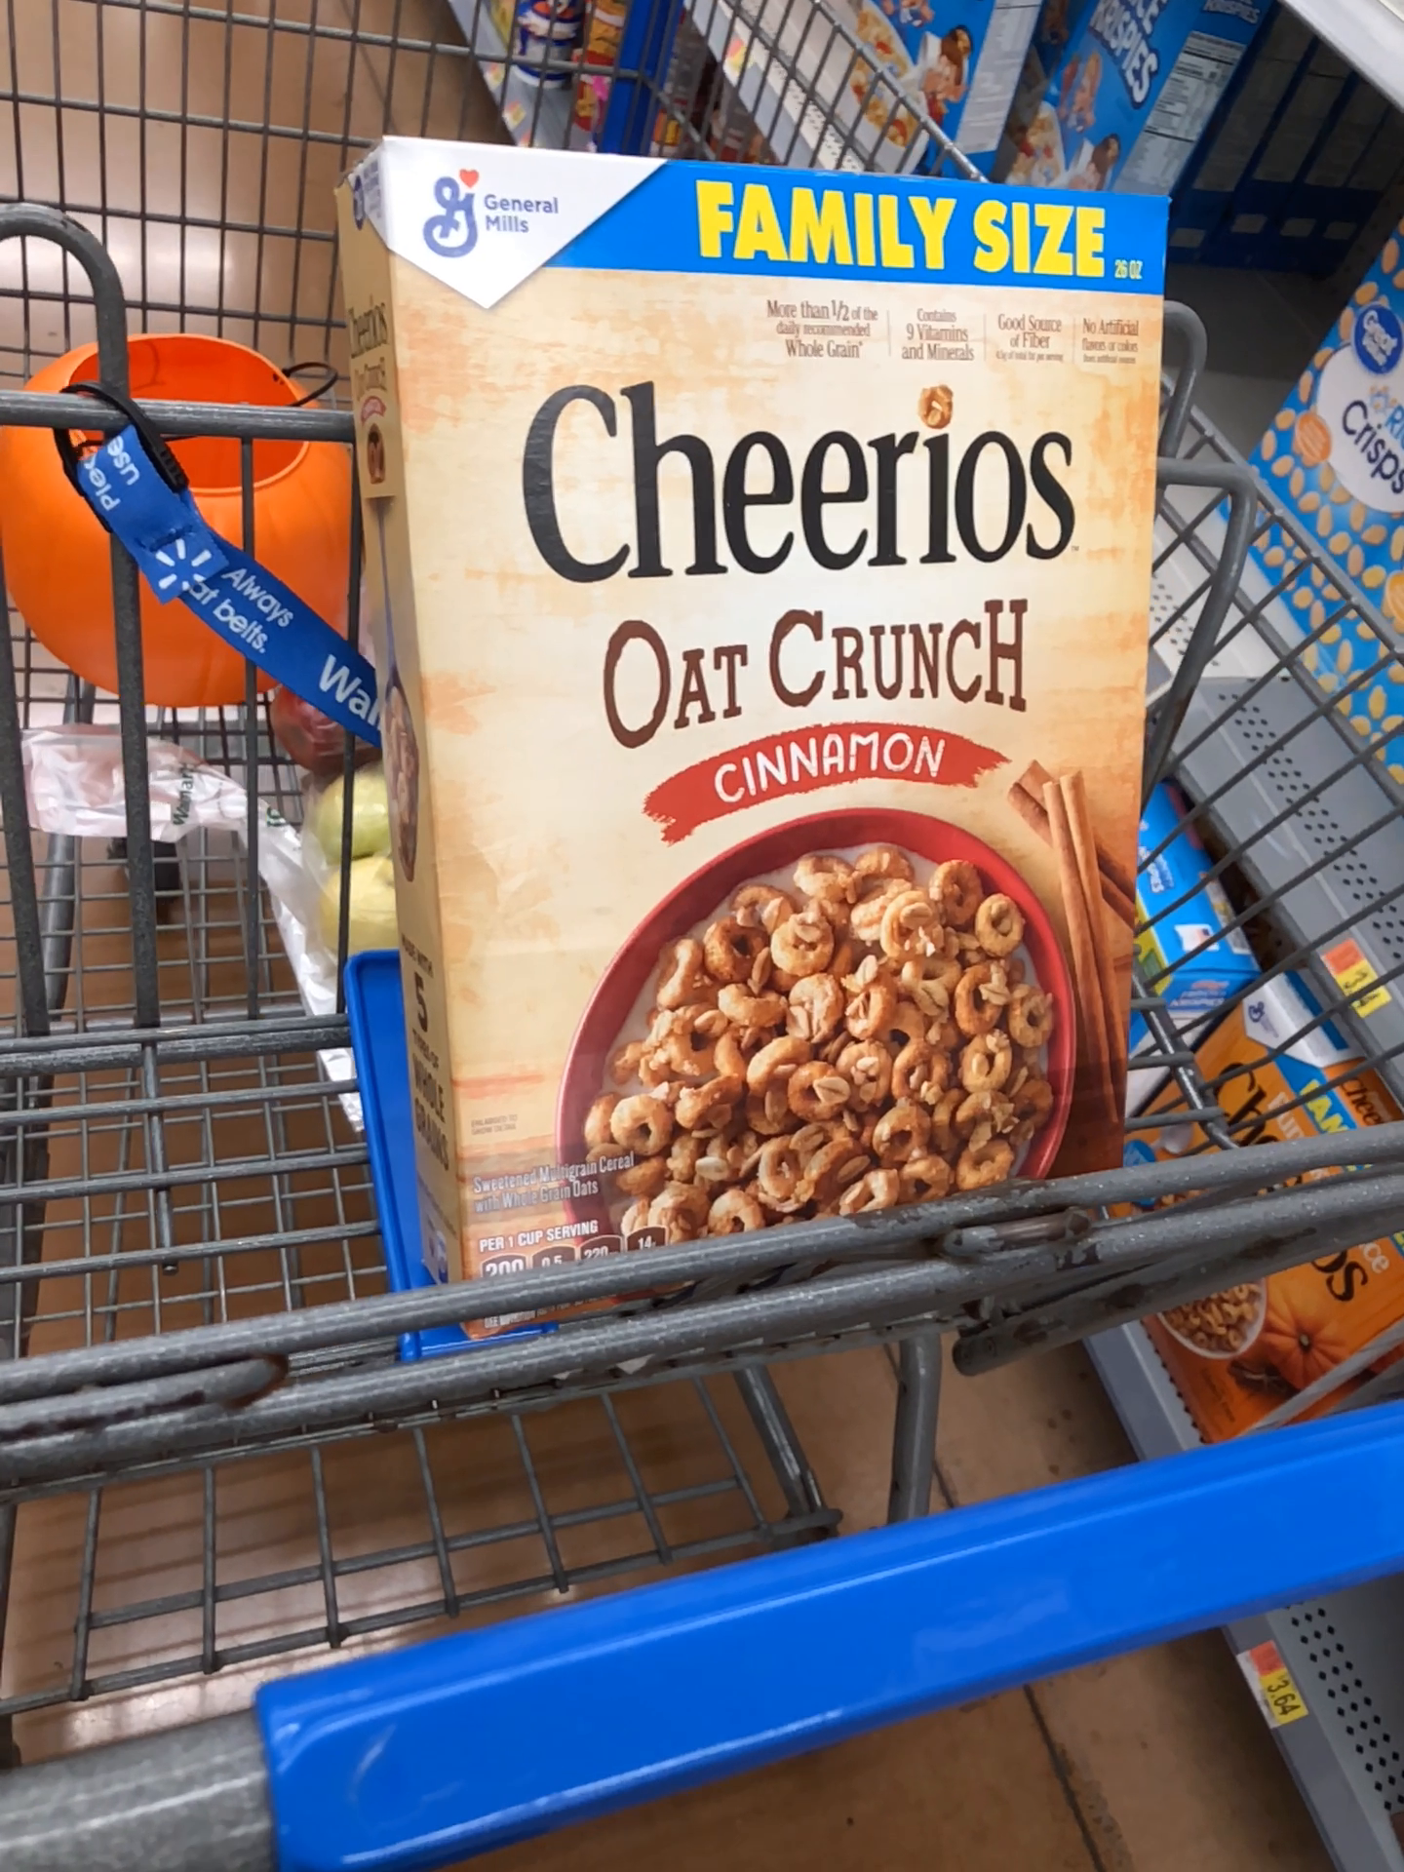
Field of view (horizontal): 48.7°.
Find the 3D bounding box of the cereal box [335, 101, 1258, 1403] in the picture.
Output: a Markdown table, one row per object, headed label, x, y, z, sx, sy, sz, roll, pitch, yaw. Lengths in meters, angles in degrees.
| label | x | y | z | sx | sy | sz | roll | pitch | yaw |
| --- | --- | --- | --- | --- | --- | --- | --- | --- | --- |
| cereal box | 0.034 | -0.053 | 0.478 | 0.250 | 0.330 | 0.080 | -8 | 17 | -25 |
